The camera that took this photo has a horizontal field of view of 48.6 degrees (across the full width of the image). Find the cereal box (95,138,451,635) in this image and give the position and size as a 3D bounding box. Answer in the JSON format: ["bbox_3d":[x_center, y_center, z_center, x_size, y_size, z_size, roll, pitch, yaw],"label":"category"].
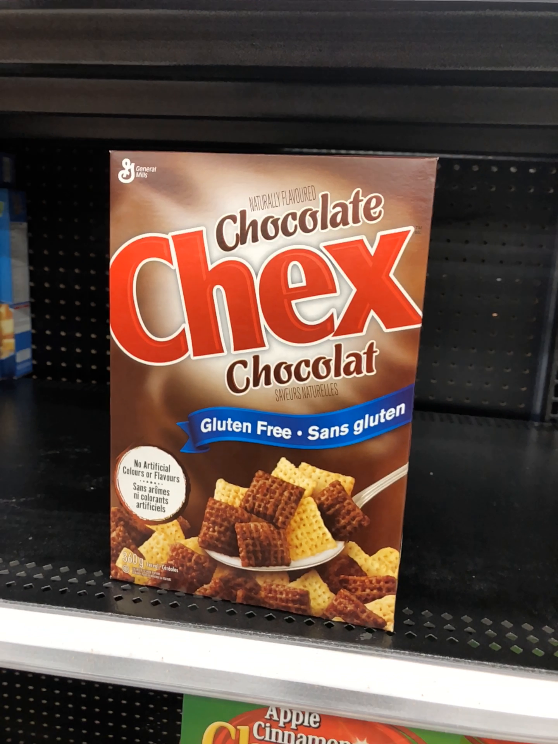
[{"bbox_3d":[-0.011,0.006,0.388,0.200,0.279,0.050,6,12,13],"label":"cereal box"}]
